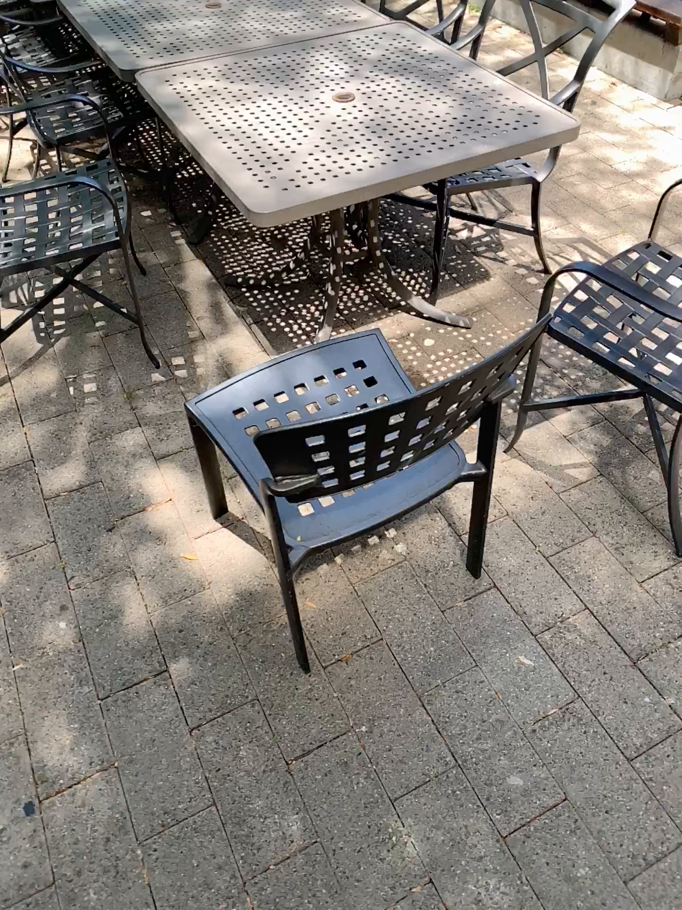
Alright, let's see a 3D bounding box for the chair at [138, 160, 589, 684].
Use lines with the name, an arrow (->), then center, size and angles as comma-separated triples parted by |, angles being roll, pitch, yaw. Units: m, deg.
chair -> 0.012, -0.051, 1.350 | 0.490, 0.717, 0.553 | -23, 52, -18
